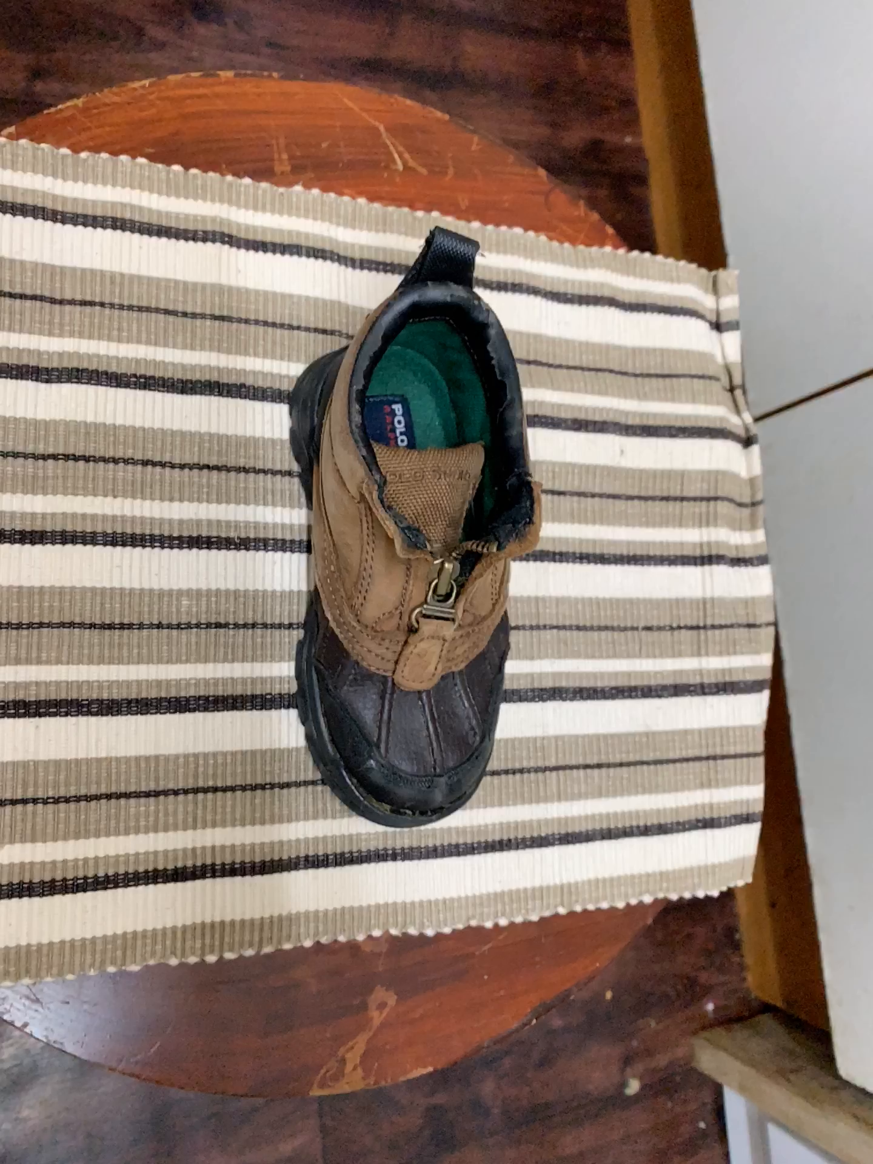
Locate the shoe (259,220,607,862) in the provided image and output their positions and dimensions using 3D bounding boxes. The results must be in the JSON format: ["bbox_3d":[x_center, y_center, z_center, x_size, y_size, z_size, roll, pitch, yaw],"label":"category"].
[{"bbox_3d":[-0.008,-0.011,0.306,0.080,0.090,0.180,-2,84,-21],"label":"shoe"}]
